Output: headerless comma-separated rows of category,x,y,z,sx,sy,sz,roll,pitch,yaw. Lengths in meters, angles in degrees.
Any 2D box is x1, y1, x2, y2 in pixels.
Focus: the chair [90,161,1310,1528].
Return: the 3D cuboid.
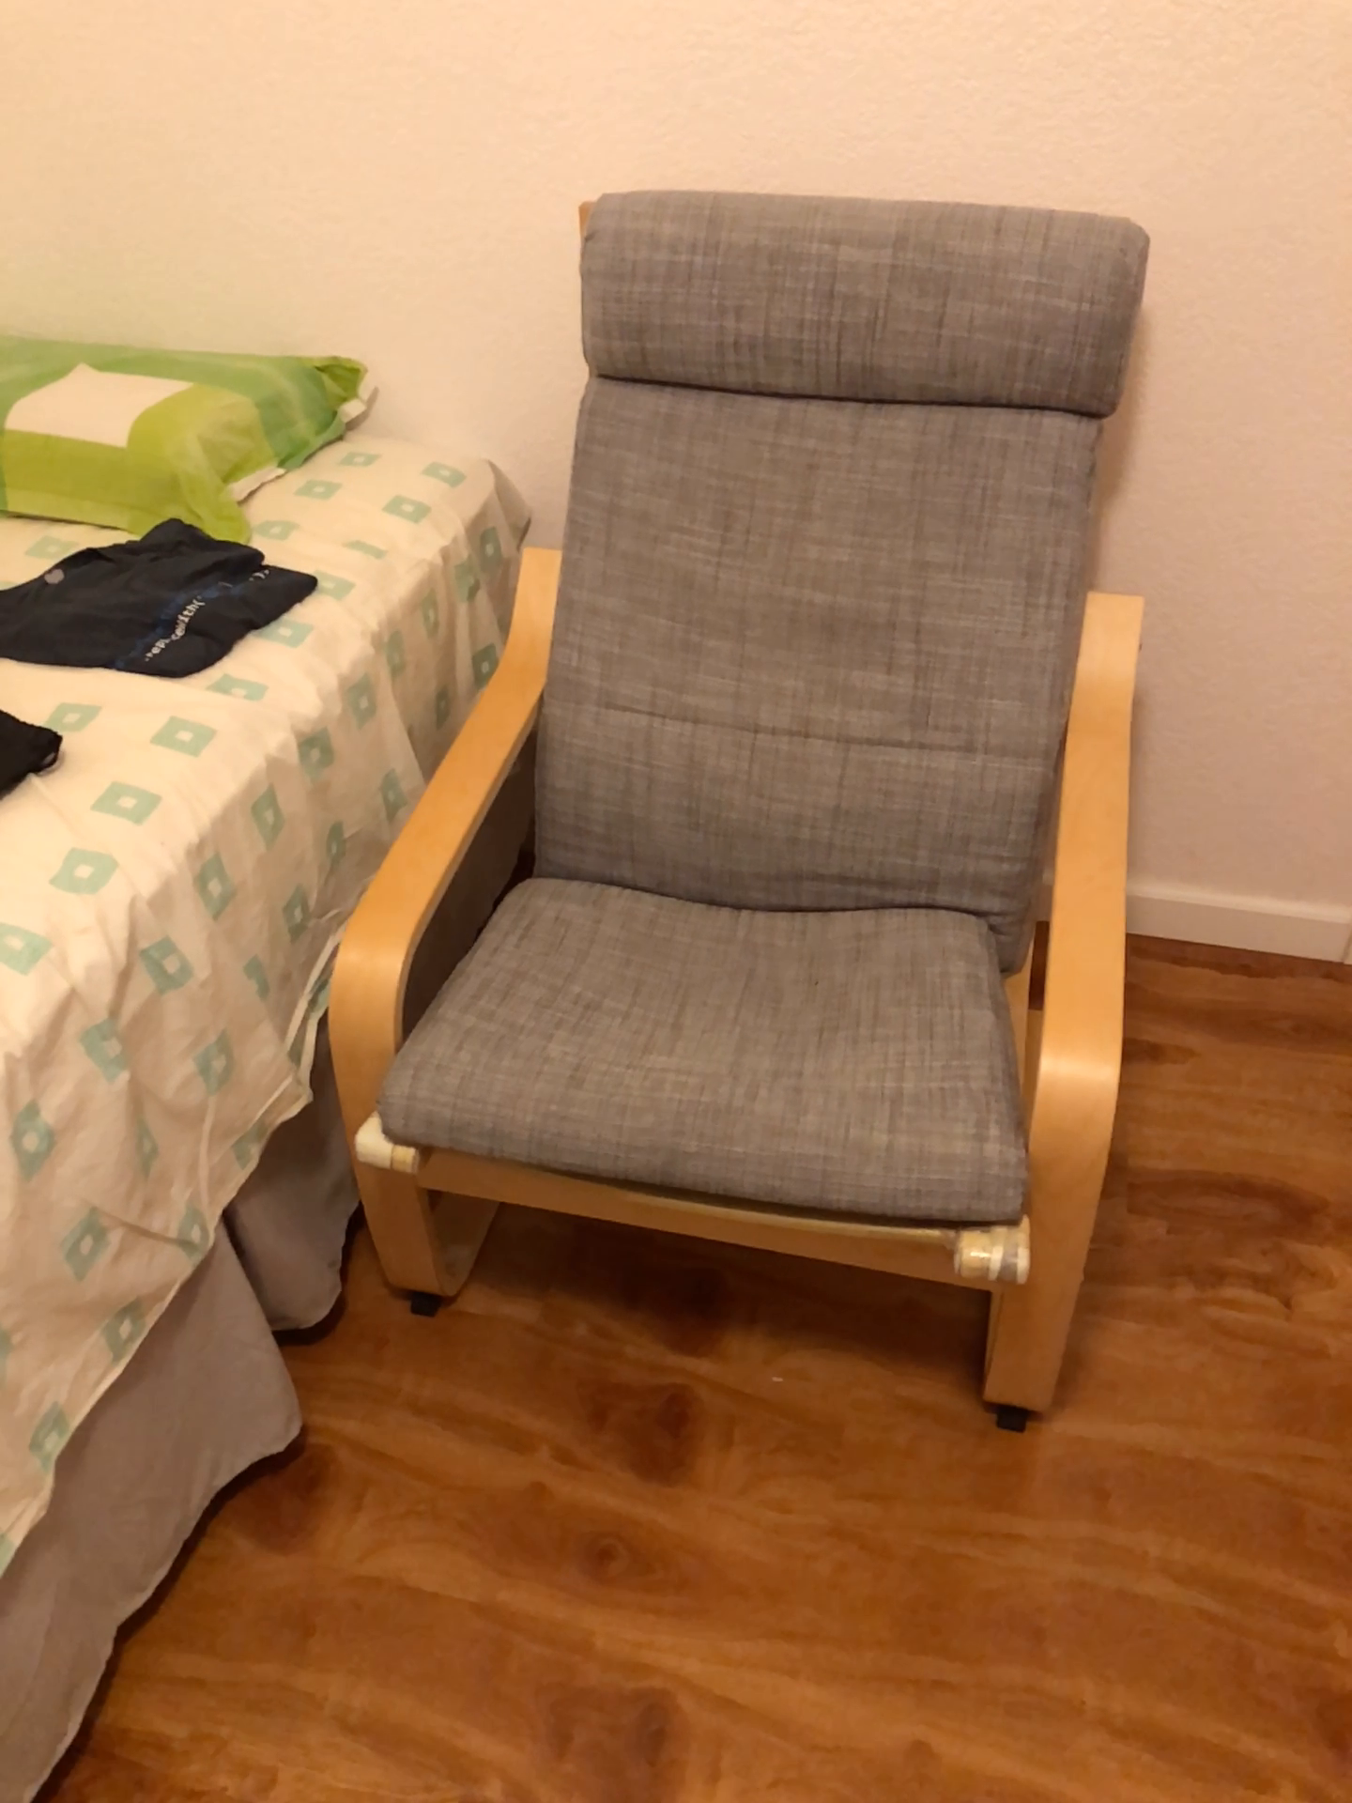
chair,0.095,-0.102,1.375,0.680,0.885,0.804,8,39,12
